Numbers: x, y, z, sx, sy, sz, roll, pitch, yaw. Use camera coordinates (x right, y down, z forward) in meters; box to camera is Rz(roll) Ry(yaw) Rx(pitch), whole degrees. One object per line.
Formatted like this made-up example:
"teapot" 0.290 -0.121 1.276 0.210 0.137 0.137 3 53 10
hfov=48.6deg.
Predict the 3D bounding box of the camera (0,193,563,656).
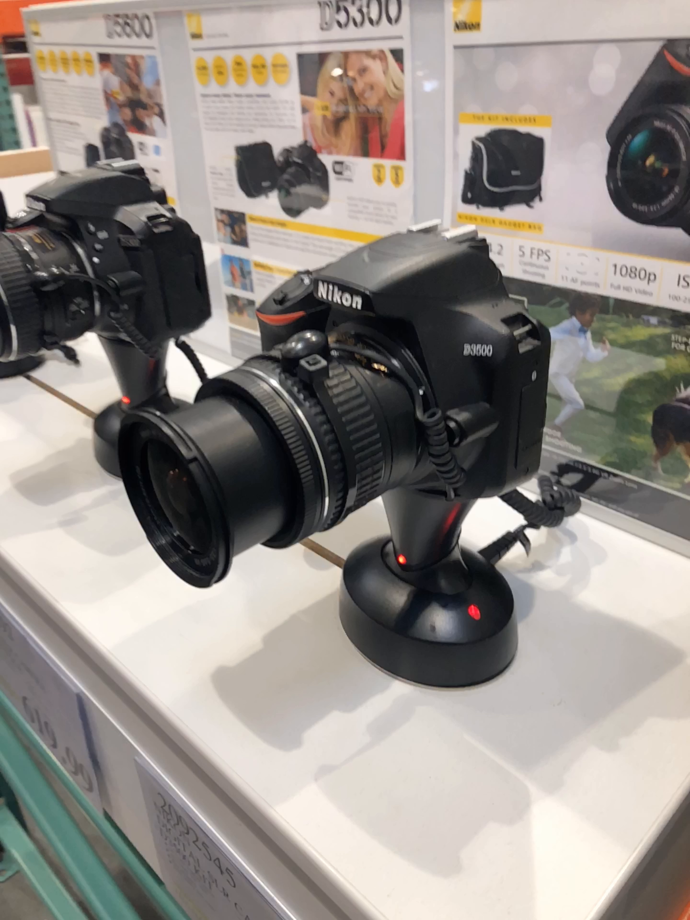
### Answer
"camera" -0.022 -0.031 0.276 0.140 0.089 0.131 -27 37 -36
